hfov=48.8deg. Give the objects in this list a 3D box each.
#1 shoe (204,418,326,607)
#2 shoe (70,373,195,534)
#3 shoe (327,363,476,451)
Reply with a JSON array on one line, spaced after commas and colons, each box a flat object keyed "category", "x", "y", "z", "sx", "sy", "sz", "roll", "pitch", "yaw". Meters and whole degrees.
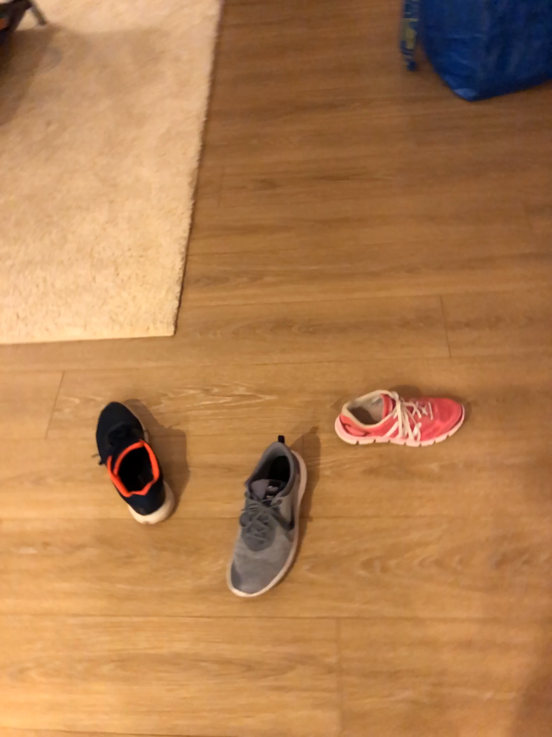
[{"category": "shoe", "x": -0.010, "y": 0.264, "z": 1.152, "sx": 0.130, "sy": 0.110, "sz": 0.307, "roll": 11, "pitch": 57, "yaw": 15}, {"category": "shoe", "x": -0.303, "y": 0.171, "z": 1.272, "sx": 0.130, "sy": 0.100, "sz": 0.301, "roll": -29, "pitch": 56, "yaw": -12}, {"category": "shoe", "x": 0.251, "y": 0.081, "z": 1.265, "sx": 0.280, "sy": 0.090, "sz": 0.141, "roll": -4, "pitch": 55, "yaw": 5}]
